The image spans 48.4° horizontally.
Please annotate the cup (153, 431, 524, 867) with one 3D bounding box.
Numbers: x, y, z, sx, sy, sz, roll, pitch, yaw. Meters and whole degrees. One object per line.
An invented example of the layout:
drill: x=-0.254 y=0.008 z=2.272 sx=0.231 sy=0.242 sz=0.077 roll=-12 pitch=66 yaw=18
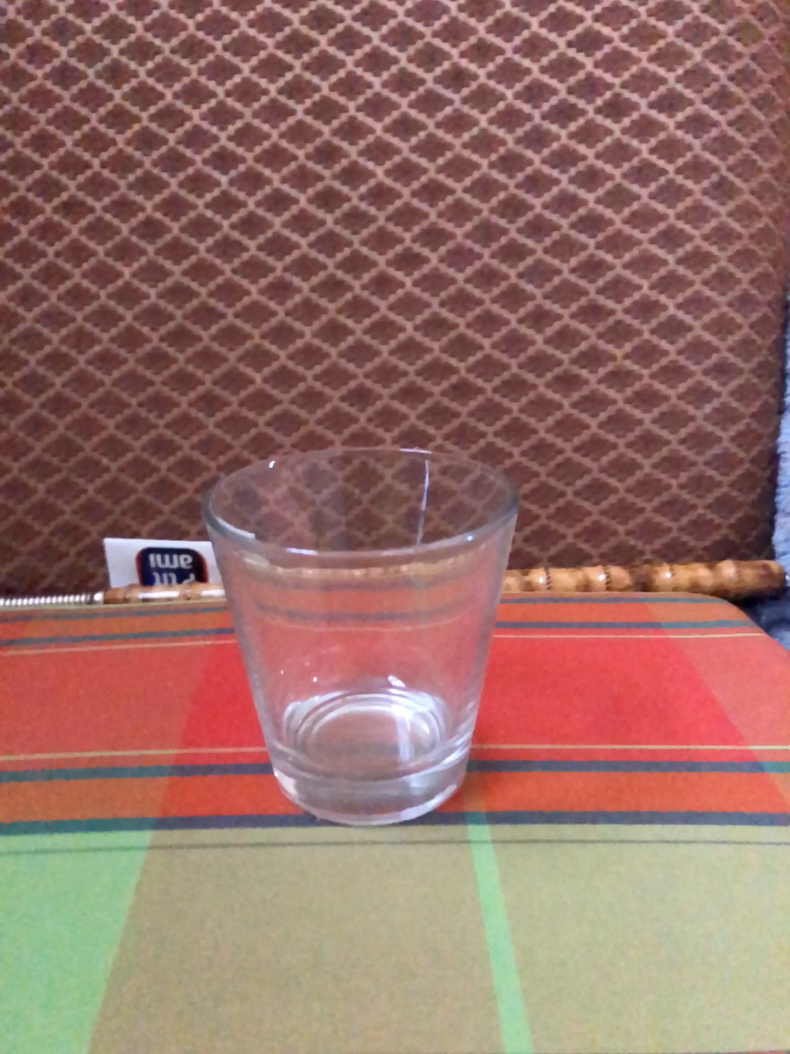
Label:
cup: x=-0.011 y=0.028 z=0.242 sx=0.080 sy=0.090 sz=0.080 roll=-1 pitch=21 yaw=0
